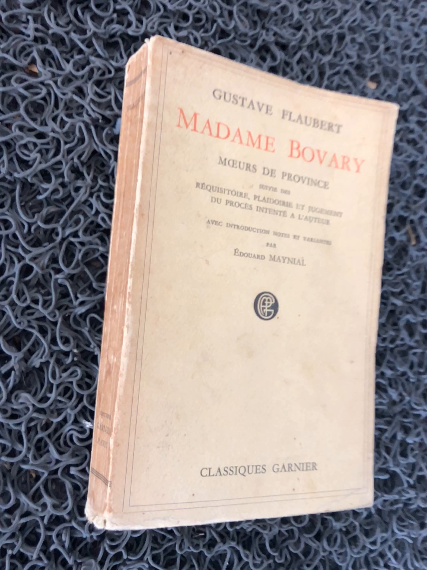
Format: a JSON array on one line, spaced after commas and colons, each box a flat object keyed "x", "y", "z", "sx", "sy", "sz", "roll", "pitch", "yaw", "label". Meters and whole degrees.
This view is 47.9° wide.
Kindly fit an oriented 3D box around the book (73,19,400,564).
[{"x": 0.017, "y": 0.004, "z": 0.199, "sx": 0.124, "sy": 0.035, "sz": 0.180, "roll": 7, "pitch": 81, "yaw": -25, "label": "book"}]
